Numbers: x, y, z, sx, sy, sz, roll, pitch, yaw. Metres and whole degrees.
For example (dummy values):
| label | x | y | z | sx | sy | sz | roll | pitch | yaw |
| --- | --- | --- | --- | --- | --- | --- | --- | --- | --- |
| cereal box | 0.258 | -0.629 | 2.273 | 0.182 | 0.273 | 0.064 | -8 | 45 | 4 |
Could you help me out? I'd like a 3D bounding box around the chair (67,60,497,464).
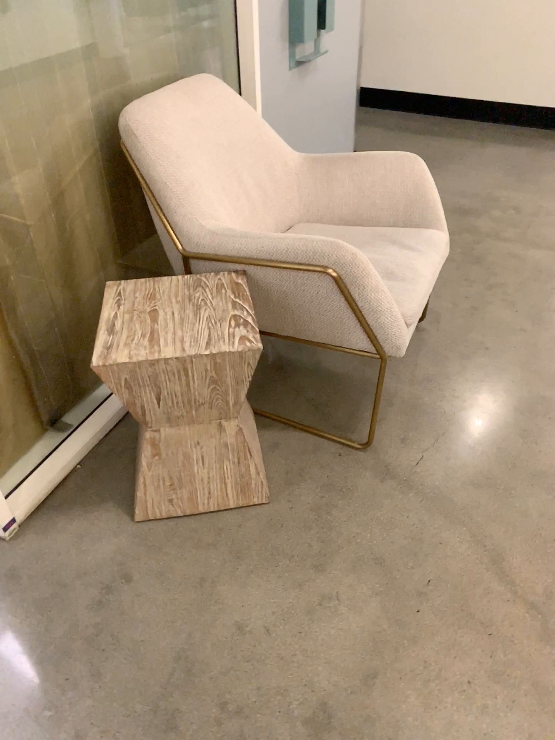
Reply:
| label | x | y | z | sx | sy | sz | roll | pitch | yaw |
| --- | --- | --- | --- | --- | --- | --- | --- | --- | --- |
| chair | 0.069 | -0.384 | 1.695 | 0.881 | 0.815 | 0.753 | 14 | 40 | 19 |
